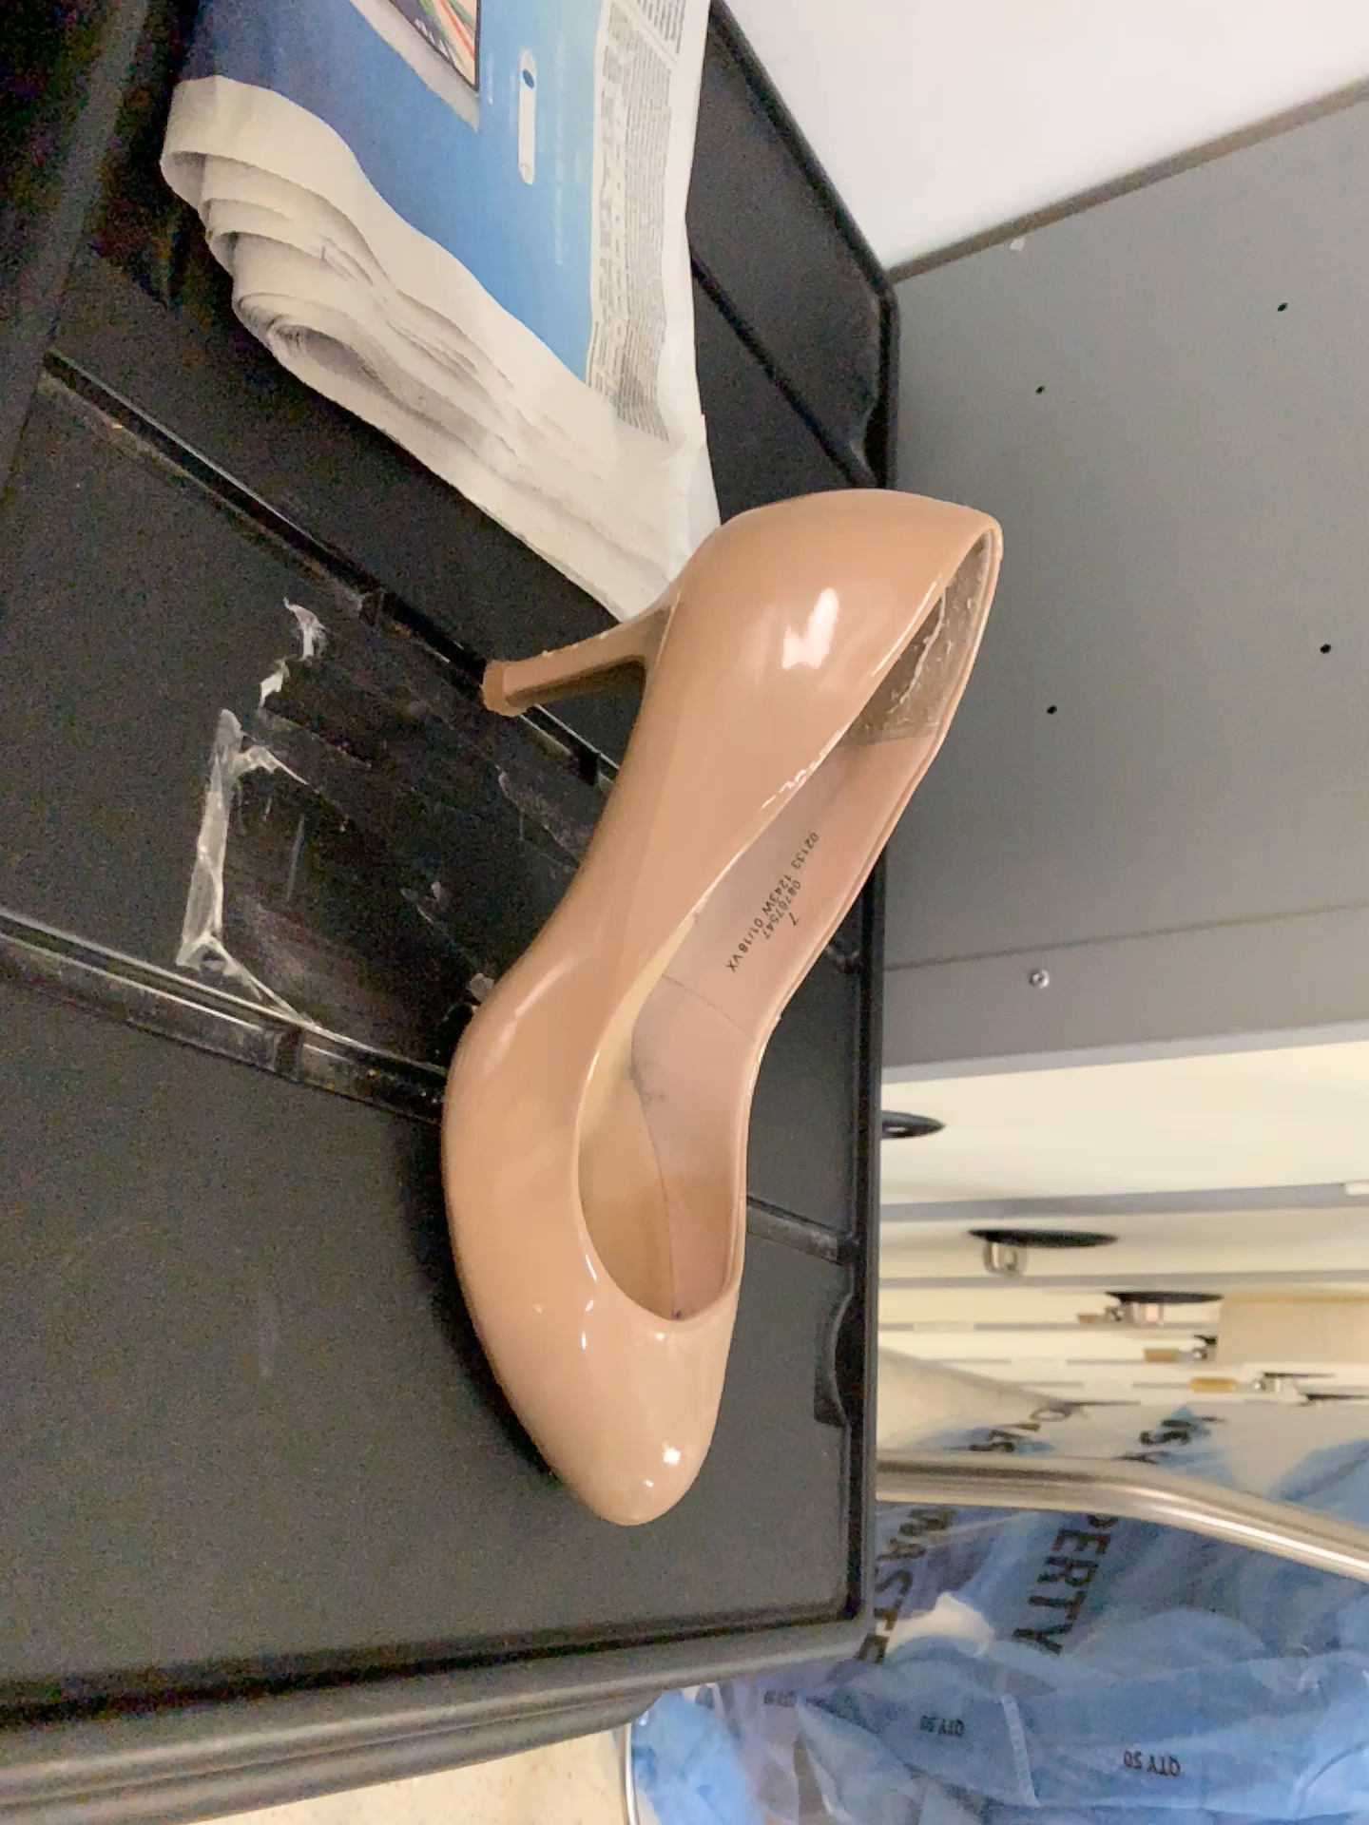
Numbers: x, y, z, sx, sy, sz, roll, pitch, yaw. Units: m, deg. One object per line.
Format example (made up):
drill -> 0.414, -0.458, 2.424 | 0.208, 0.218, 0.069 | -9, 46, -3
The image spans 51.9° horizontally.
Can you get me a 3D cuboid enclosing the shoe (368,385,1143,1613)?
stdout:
shoe -> 0.015, 0.023, 0.349 | 0.097, 0.140, 0.239 | 10, 73, -59
